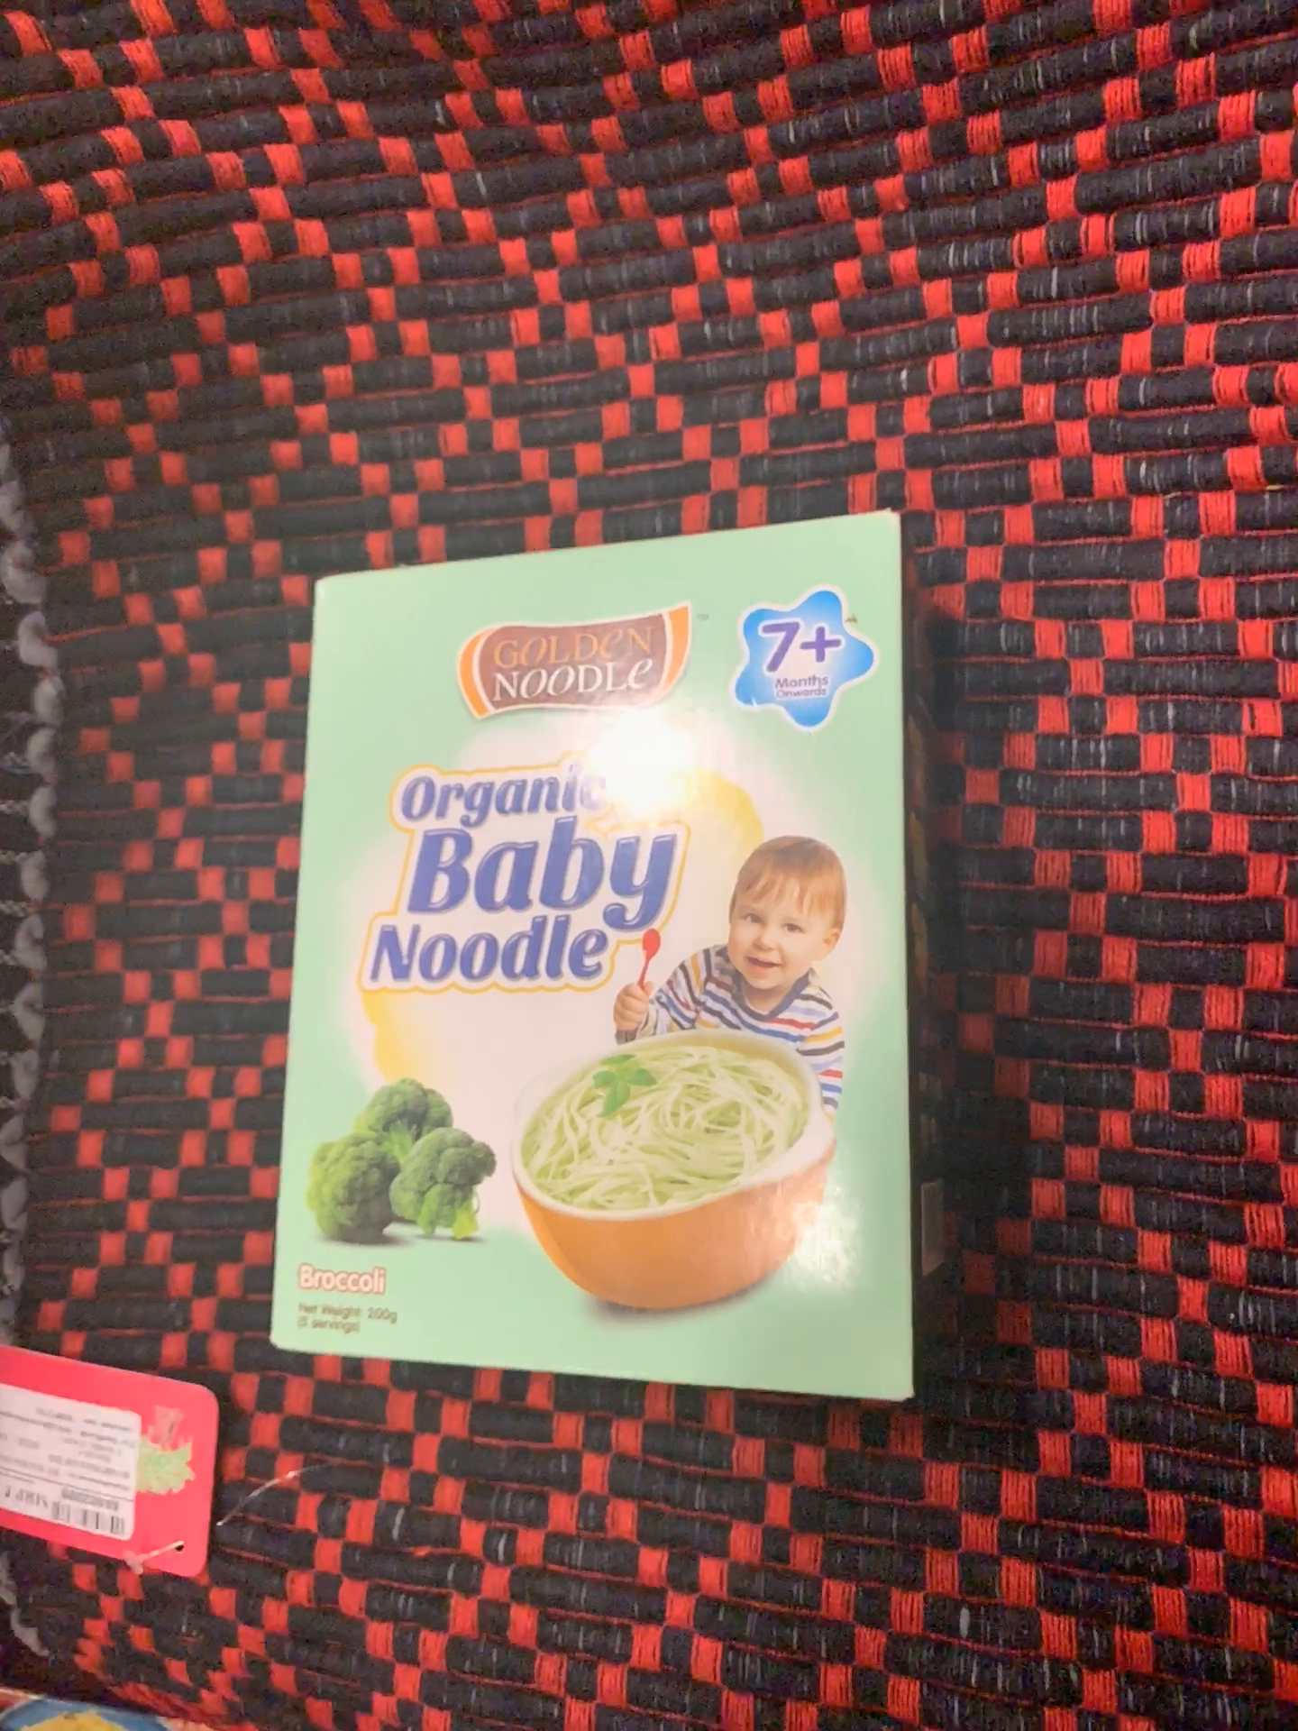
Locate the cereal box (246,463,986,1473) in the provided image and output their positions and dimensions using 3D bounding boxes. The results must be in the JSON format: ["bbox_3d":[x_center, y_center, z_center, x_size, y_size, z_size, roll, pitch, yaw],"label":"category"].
[{"bbox_3d":[-0.003,0.019,0.275,0.130,0.060,0.170,-2,79,18],"label":"cereal box"}]
